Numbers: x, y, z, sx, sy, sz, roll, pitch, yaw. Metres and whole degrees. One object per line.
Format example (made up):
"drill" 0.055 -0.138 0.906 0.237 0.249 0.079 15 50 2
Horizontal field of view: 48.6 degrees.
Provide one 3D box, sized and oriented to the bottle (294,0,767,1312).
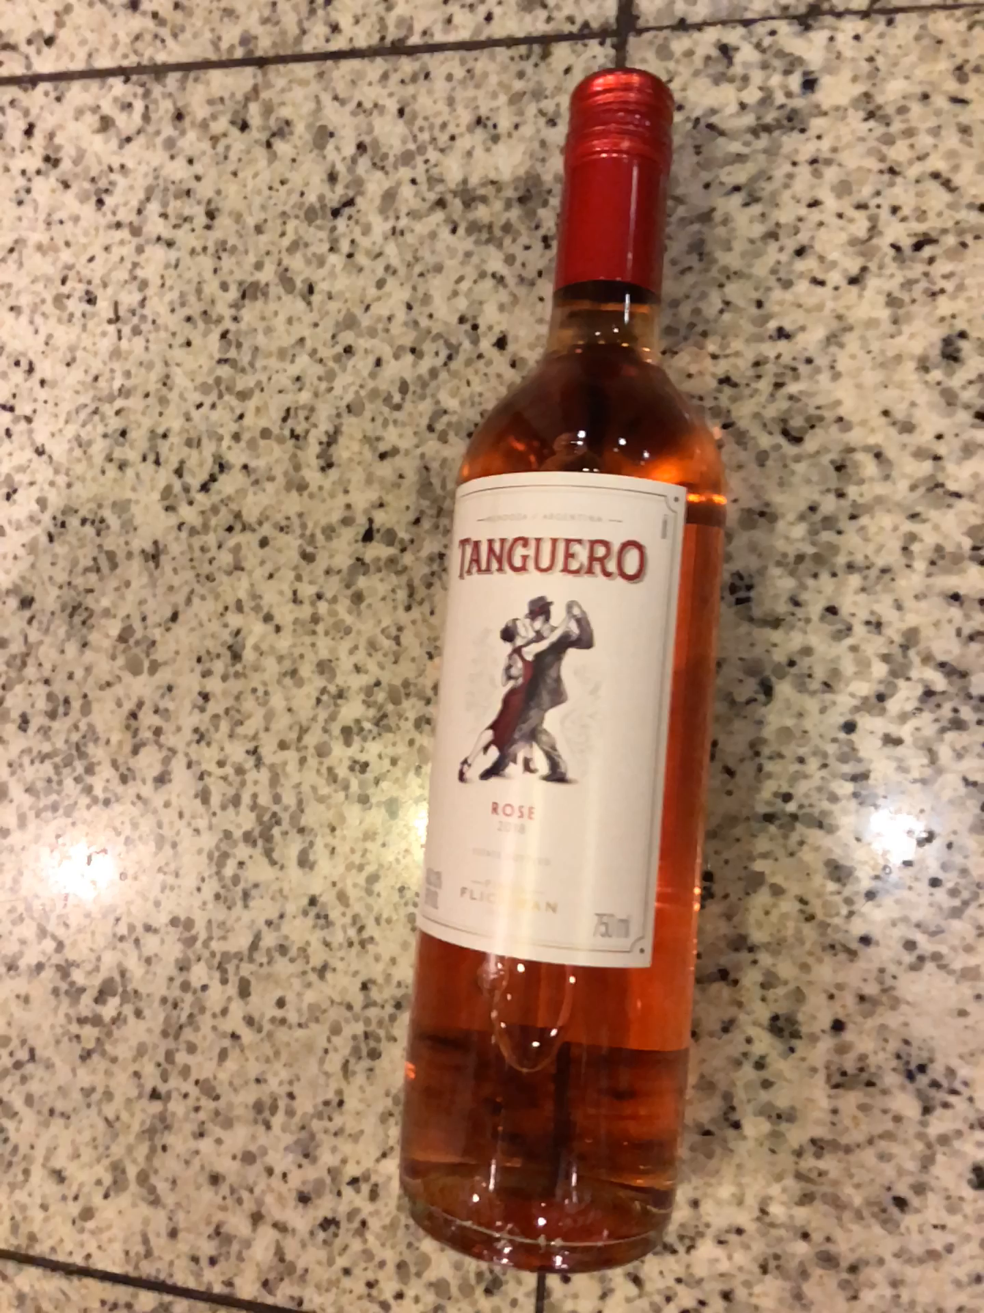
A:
"bottle" 0.016 -0.018 0.284 0.090 0.060 0.320 3 86 14
